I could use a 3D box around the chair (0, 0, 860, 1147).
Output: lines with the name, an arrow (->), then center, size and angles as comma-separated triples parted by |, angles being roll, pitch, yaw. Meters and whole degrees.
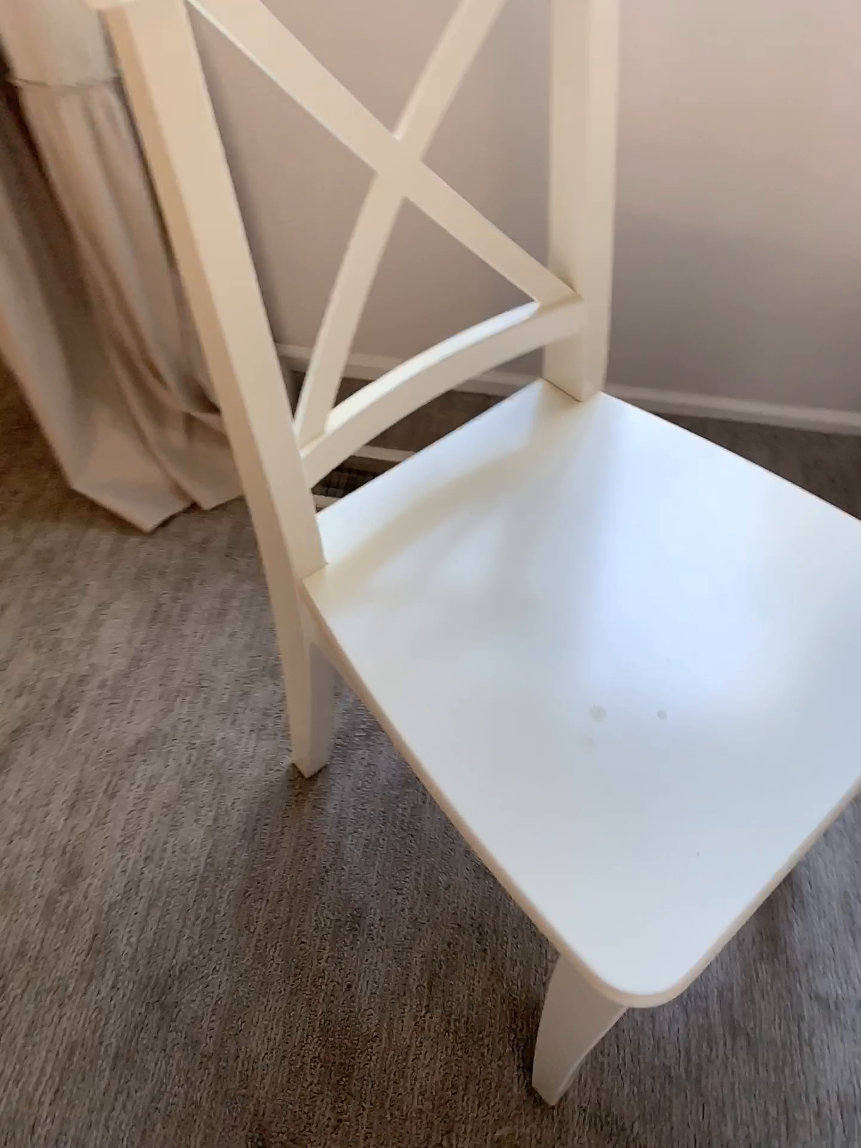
chair -> 0.140, -0.043, 0.598 | 0.571, 0.856, 0.481 | -34, 59, -24
